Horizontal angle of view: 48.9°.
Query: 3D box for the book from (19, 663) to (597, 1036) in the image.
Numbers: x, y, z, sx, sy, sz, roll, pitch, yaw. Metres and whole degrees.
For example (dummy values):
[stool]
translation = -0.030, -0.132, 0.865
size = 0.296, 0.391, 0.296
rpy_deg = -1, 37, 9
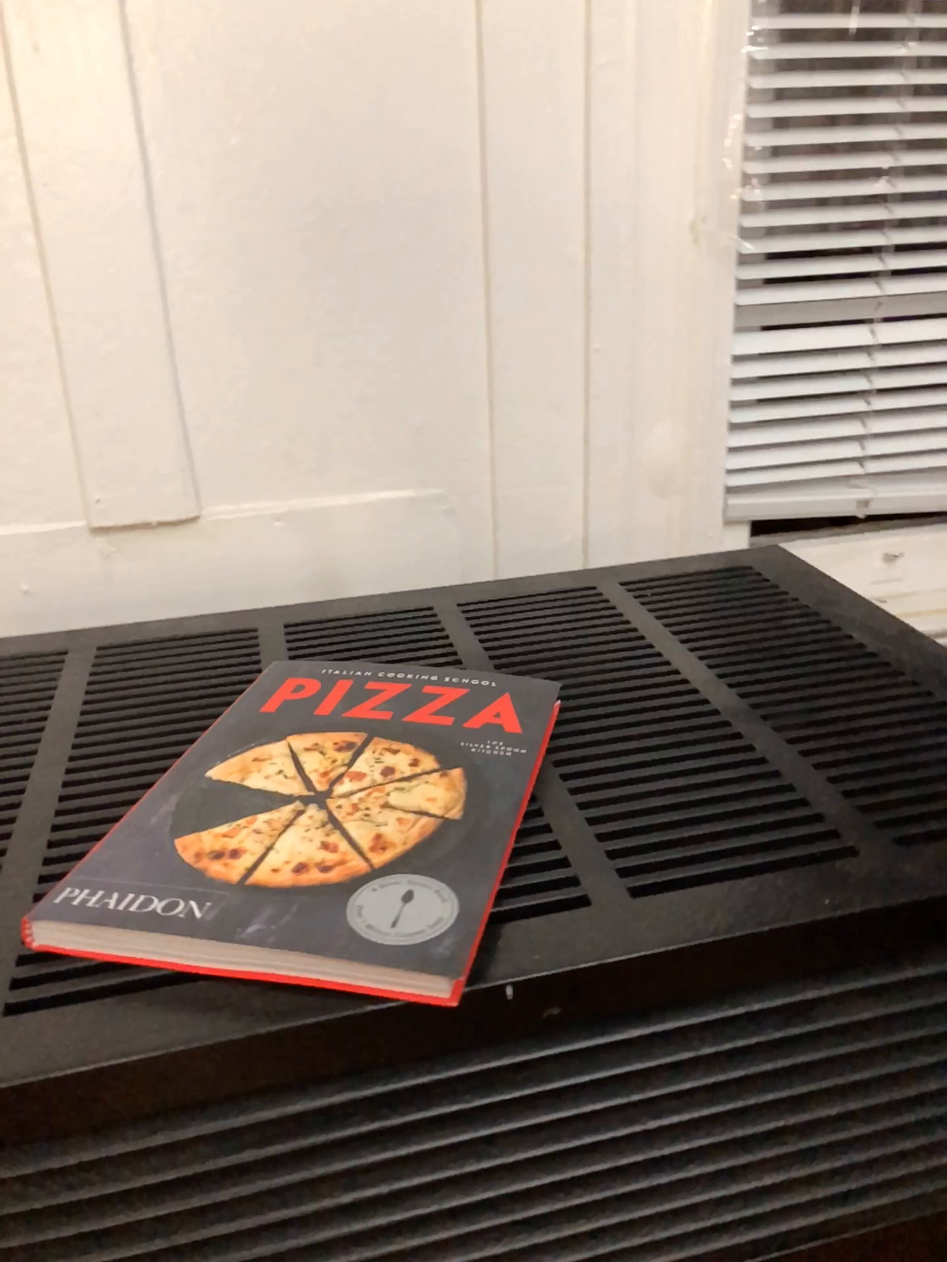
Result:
[book]
translation = -0.049, 0.075, 0.462
size = 0.180, 0.020, 0.231
rpy_deg = 3, 23, 13
